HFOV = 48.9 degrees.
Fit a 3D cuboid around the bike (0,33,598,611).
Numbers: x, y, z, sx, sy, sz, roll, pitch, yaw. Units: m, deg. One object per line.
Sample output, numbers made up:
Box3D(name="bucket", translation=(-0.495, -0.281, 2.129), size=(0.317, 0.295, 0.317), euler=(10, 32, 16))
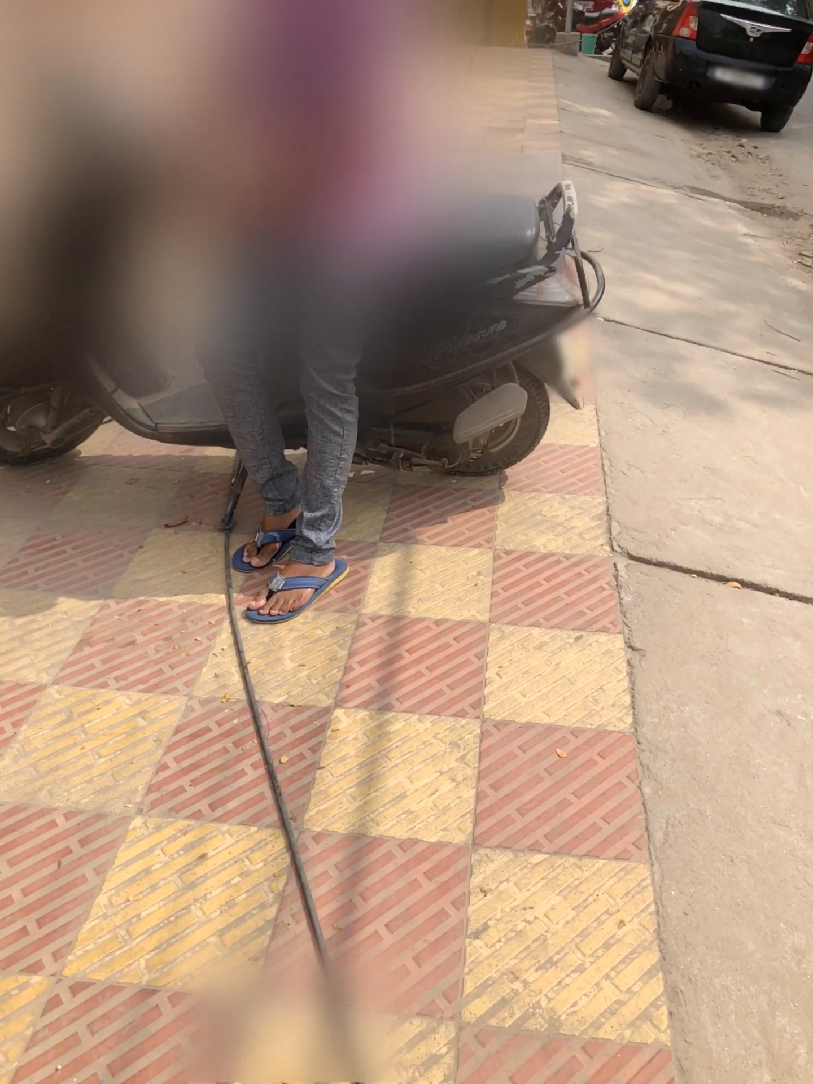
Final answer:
Box3D(name="bike", translation=(-0.443, -0.506, 2.079), size=(1.594, 1.116, 0.639), euler=(-1, 33, -3))
